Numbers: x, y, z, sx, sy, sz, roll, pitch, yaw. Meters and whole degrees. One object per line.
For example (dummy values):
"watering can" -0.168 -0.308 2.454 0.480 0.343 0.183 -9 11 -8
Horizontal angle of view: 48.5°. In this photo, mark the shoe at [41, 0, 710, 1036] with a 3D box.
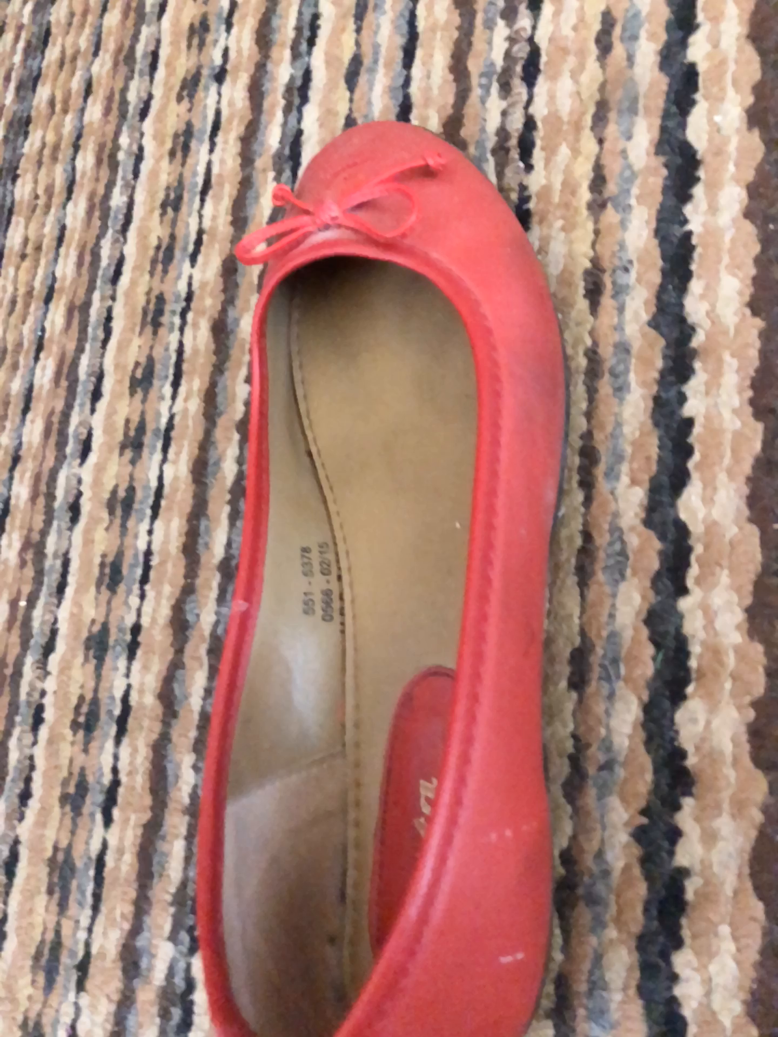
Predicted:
"shoe" 0.000 -0.008 0.226 0.100 0.110 0.270 -13 70 32
